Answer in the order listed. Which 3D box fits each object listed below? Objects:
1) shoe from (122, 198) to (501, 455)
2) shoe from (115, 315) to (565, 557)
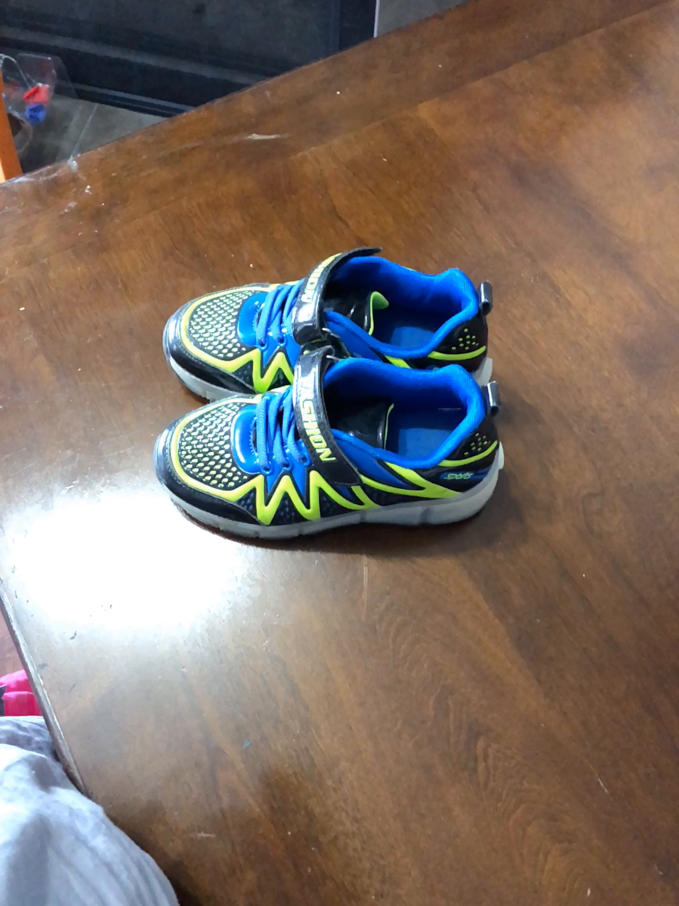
[{"bbox_3d":[-0.013,-0.076,0.489,0.210,0.120,0.100,5,67,1],"label":"shoe"},{"bbox_3d":[-0.003,-0.005,0.456,0.230,0.120,0.090,-4,67,-3],"label":"shoe"}]
